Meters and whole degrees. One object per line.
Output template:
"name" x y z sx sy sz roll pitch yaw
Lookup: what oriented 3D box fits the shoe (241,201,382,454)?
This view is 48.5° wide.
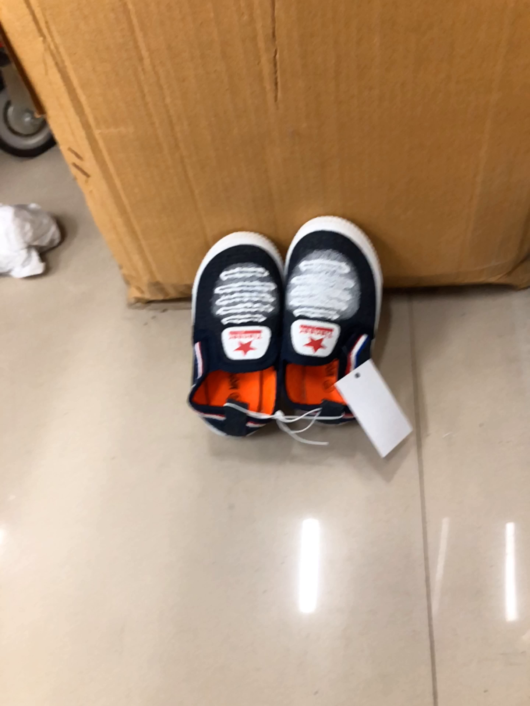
"shoe" 0.036 -0.023 0.421 0.080 0.159 0.081 4 20 15
